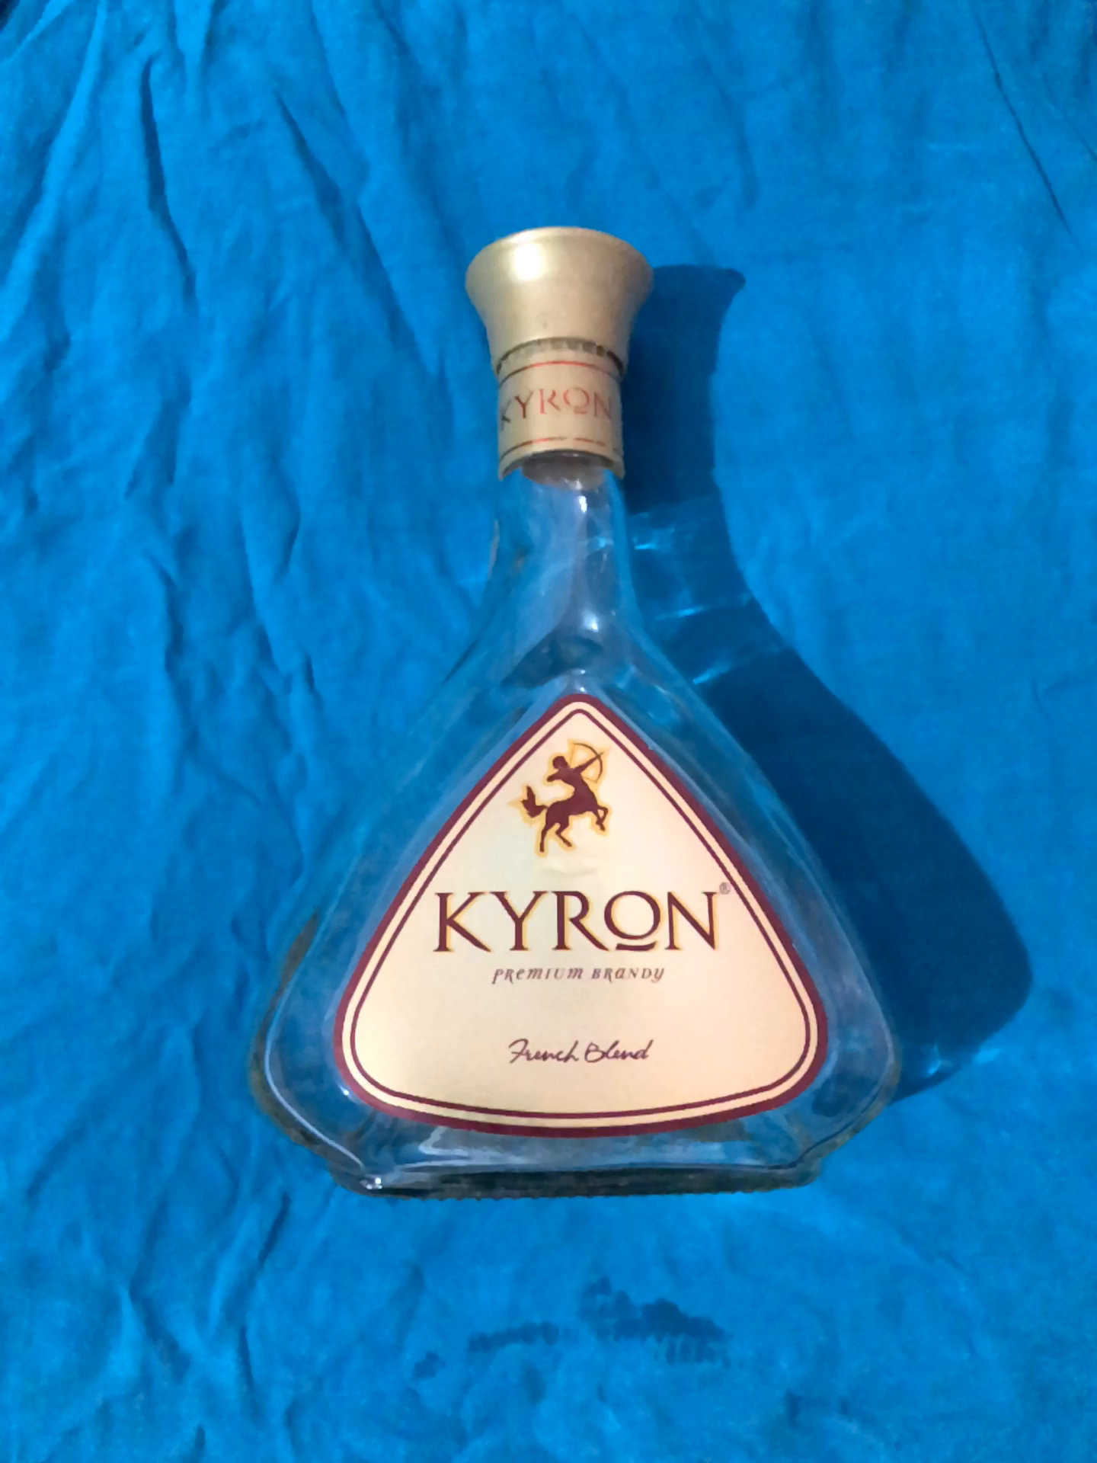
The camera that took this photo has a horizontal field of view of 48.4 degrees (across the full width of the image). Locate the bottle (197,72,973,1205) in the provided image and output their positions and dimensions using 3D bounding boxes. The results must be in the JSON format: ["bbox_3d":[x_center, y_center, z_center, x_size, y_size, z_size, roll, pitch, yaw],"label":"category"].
[{"bbox_3d":[0.006,-0.021,0.295,0.150,0.080,0.240,-1,81,2],"label":"bottle"}]
